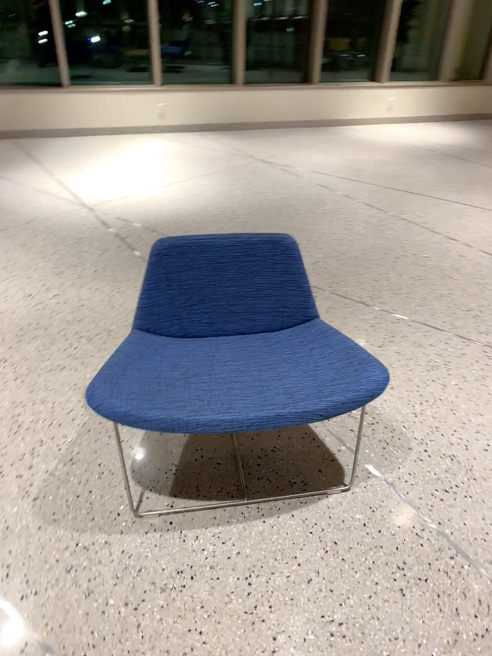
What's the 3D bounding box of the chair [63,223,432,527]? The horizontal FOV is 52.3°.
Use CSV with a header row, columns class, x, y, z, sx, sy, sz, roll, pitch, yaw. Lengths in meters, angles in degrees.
class,x,y,z,sx,sy,sz,roll,pitch,yaw
chair,-0.035,0.109,1.716,0.941,0.698,0.667,-4,32,-9
